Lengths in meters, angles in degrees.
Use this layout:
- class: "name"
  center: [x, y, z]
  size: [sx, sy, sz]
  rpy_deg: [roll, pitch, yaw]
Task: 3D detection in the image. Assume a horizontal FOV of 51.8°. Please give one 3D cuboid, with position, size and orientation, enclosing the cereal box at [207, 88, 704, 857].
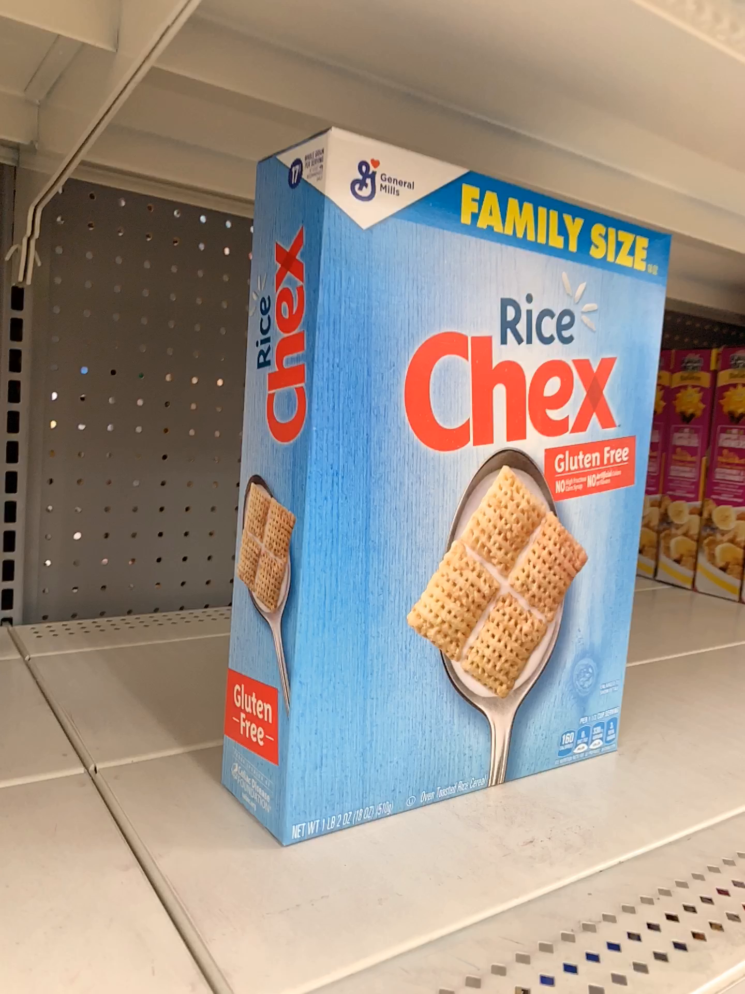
- class: "cereal box"
  center: [0.052, -0.008, 0.420]
  size: [0.250, 0.319, 0.080]
  rpy_deg: [0, 7, -34]
